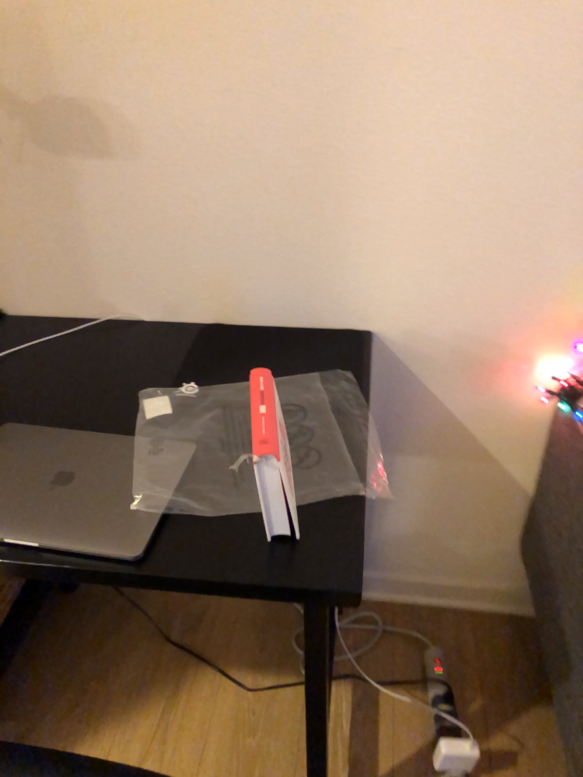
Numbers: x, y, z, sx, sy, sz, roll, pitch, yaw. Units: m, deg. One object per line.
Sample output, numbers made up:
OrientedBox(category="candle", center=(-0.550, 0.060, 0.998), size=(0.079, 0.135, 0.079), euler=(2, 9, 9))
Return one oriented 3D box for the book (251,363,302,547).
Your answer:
OrientedBox(category="book", center=(-0.022, 0.077, 0.811), size=(0.050, 0.129, 0.201), euler=(-2, 34, -4))
